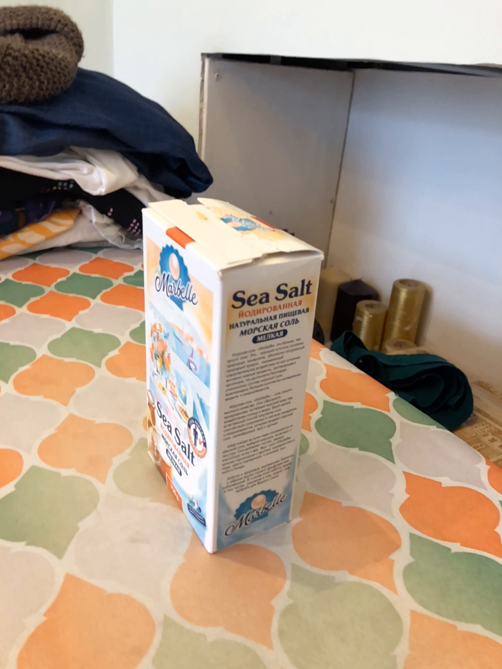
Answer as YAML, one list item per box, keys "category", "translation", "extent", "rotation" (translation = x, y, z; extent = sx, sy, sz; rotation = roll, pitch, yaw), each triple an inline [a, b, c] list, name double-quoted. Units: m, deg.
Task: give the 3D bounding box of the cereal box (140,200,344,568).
- category: "cereal box"
  translation: [-0.014, 0.023, 0.311]
  extent: [0.060, 0.169, 0.100]
  rotation: [-11, 31, -28]
